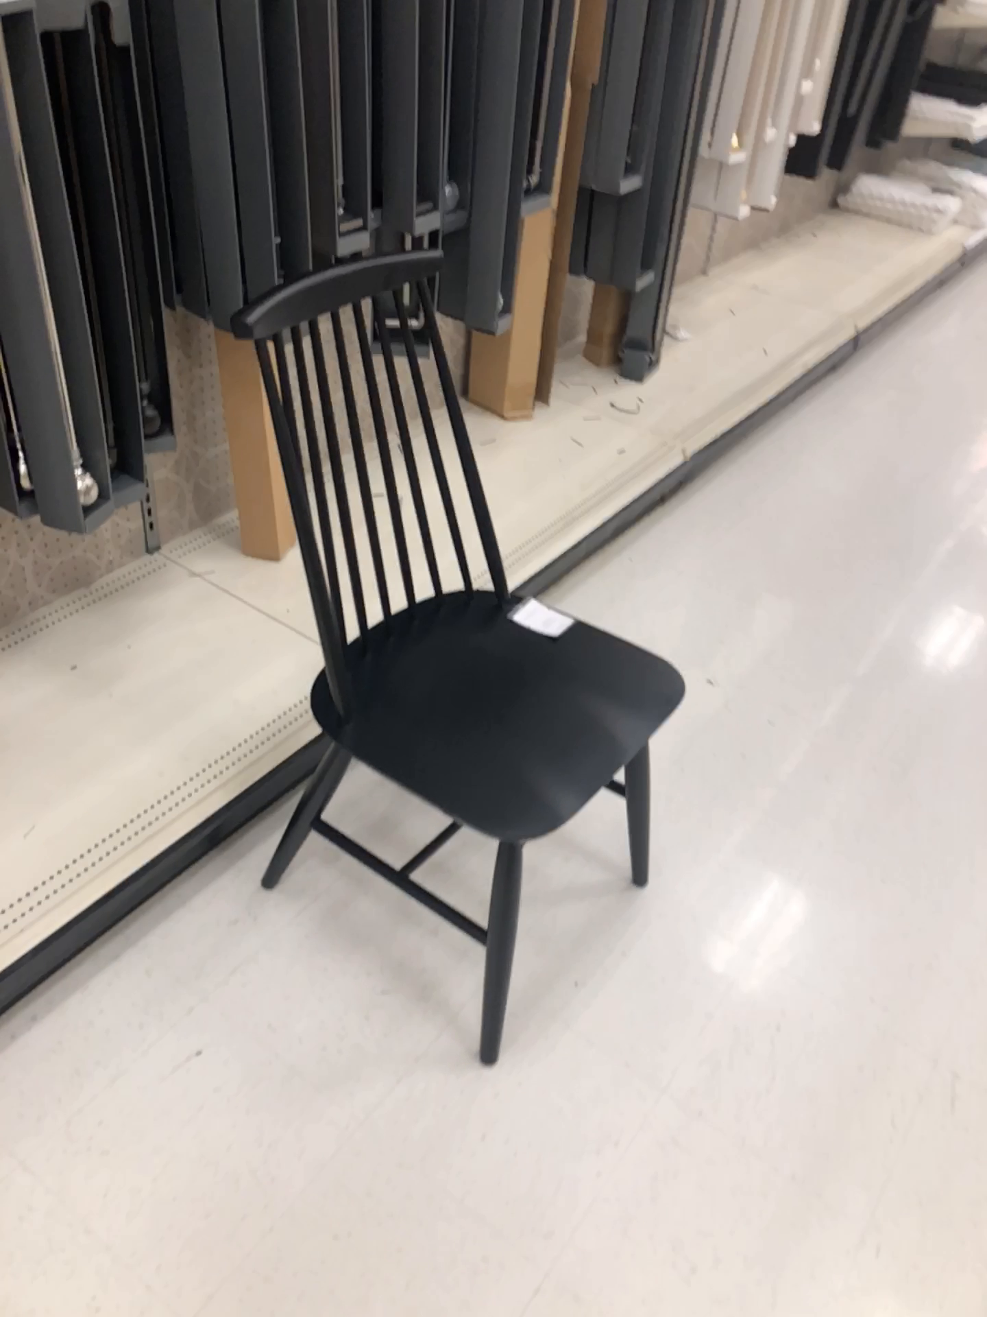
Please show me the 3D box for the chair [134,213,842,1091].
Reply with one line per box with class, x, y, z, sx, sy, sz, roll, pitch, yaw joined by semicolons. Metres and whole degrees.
chair;-0.035;-0.018;1.485;0.609;0.909;0.519;28;42;24
